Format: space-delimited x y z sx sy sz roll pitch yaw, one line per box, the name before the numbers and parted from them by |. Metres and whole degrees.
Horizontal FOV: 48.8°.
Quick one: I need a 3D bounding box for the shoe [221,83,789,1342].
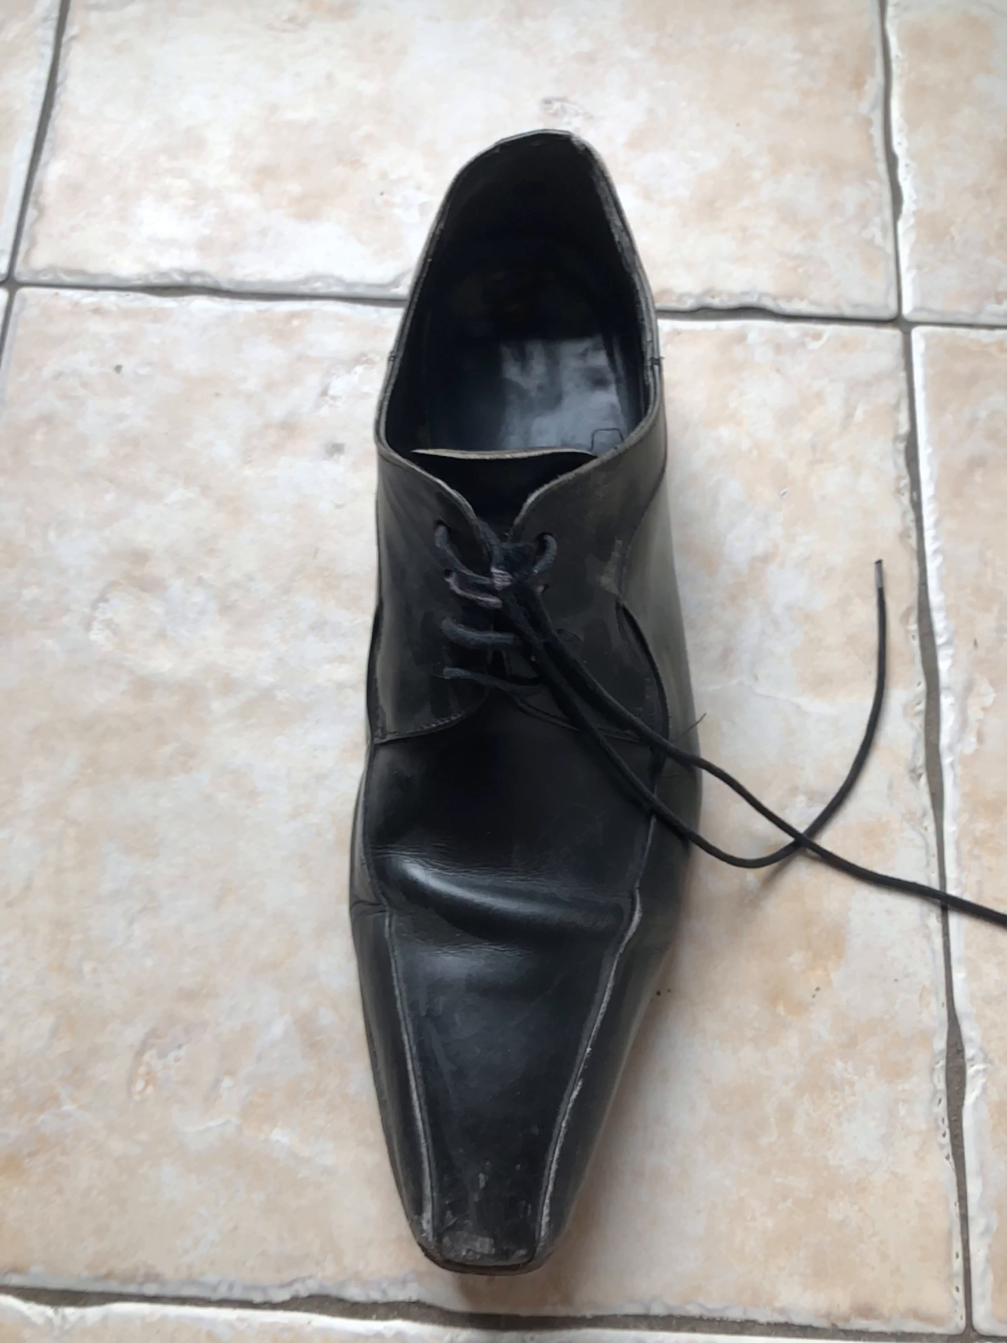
shoe | 0.011 0.000 0.294 0.100 0.090 0.291 5 74 3
